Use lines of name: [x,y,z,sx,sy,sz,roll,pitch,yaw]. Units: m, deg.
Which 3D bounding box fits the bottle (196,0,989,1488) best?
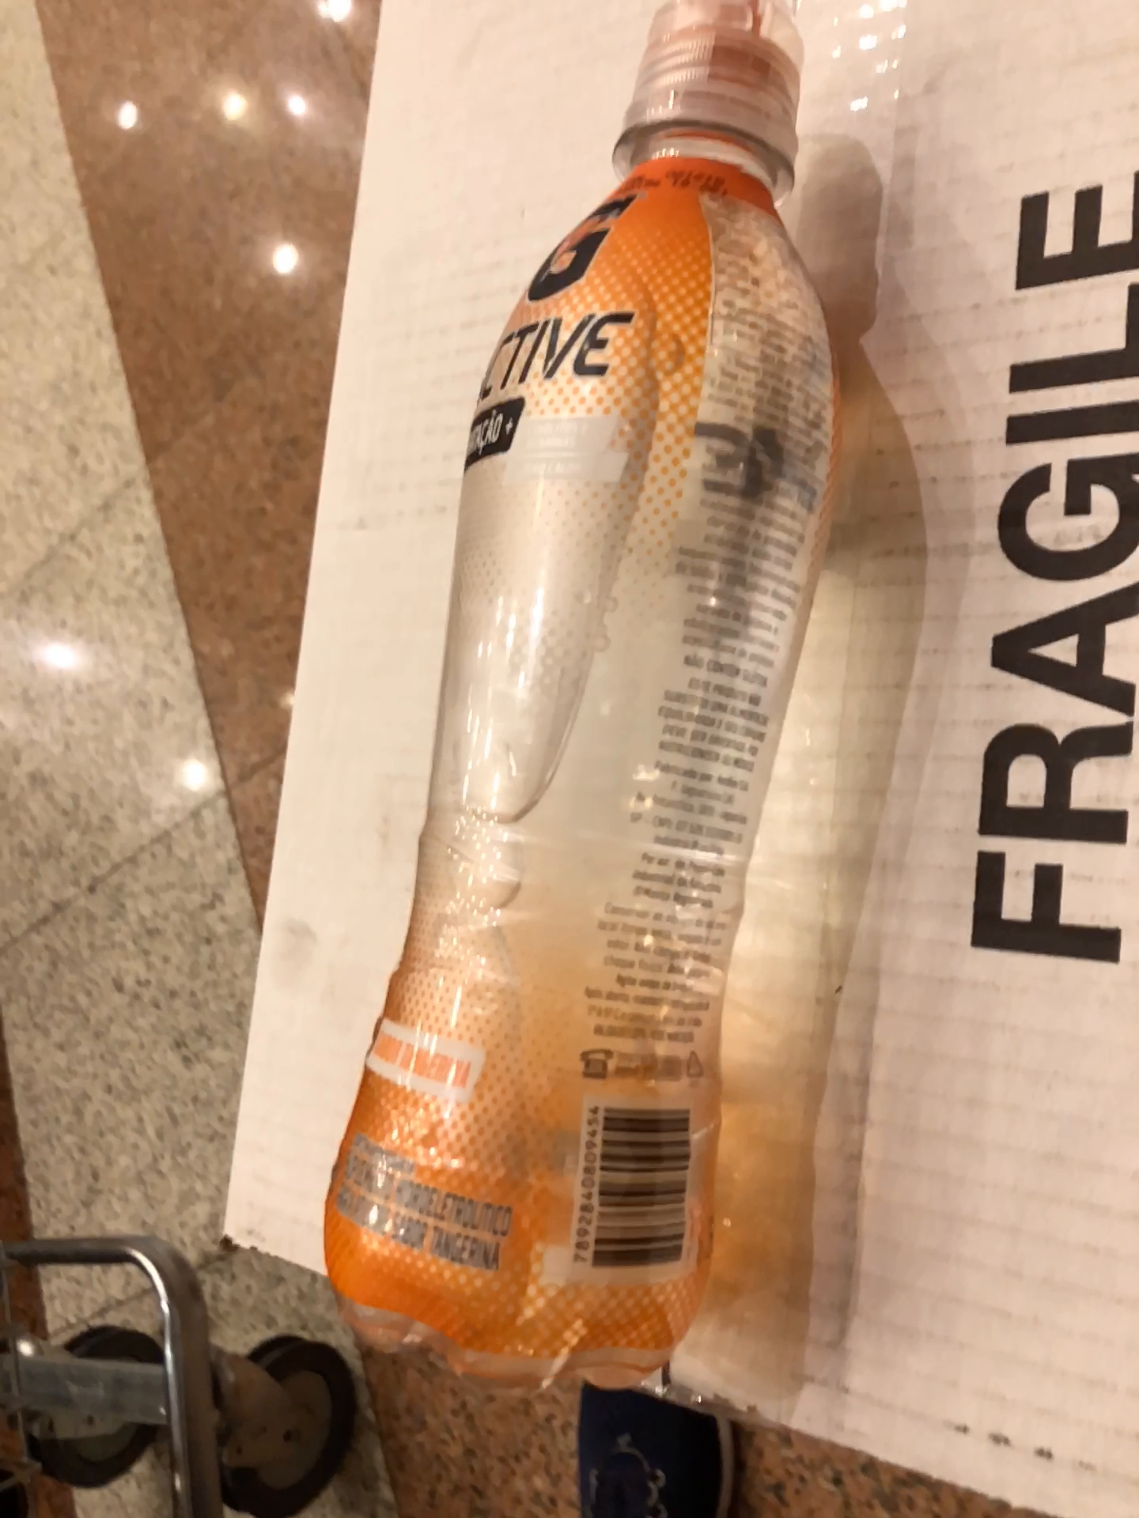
bottle: [0.007,-0.030,0.212,0.070,0.060,0.250,7,86,36]
